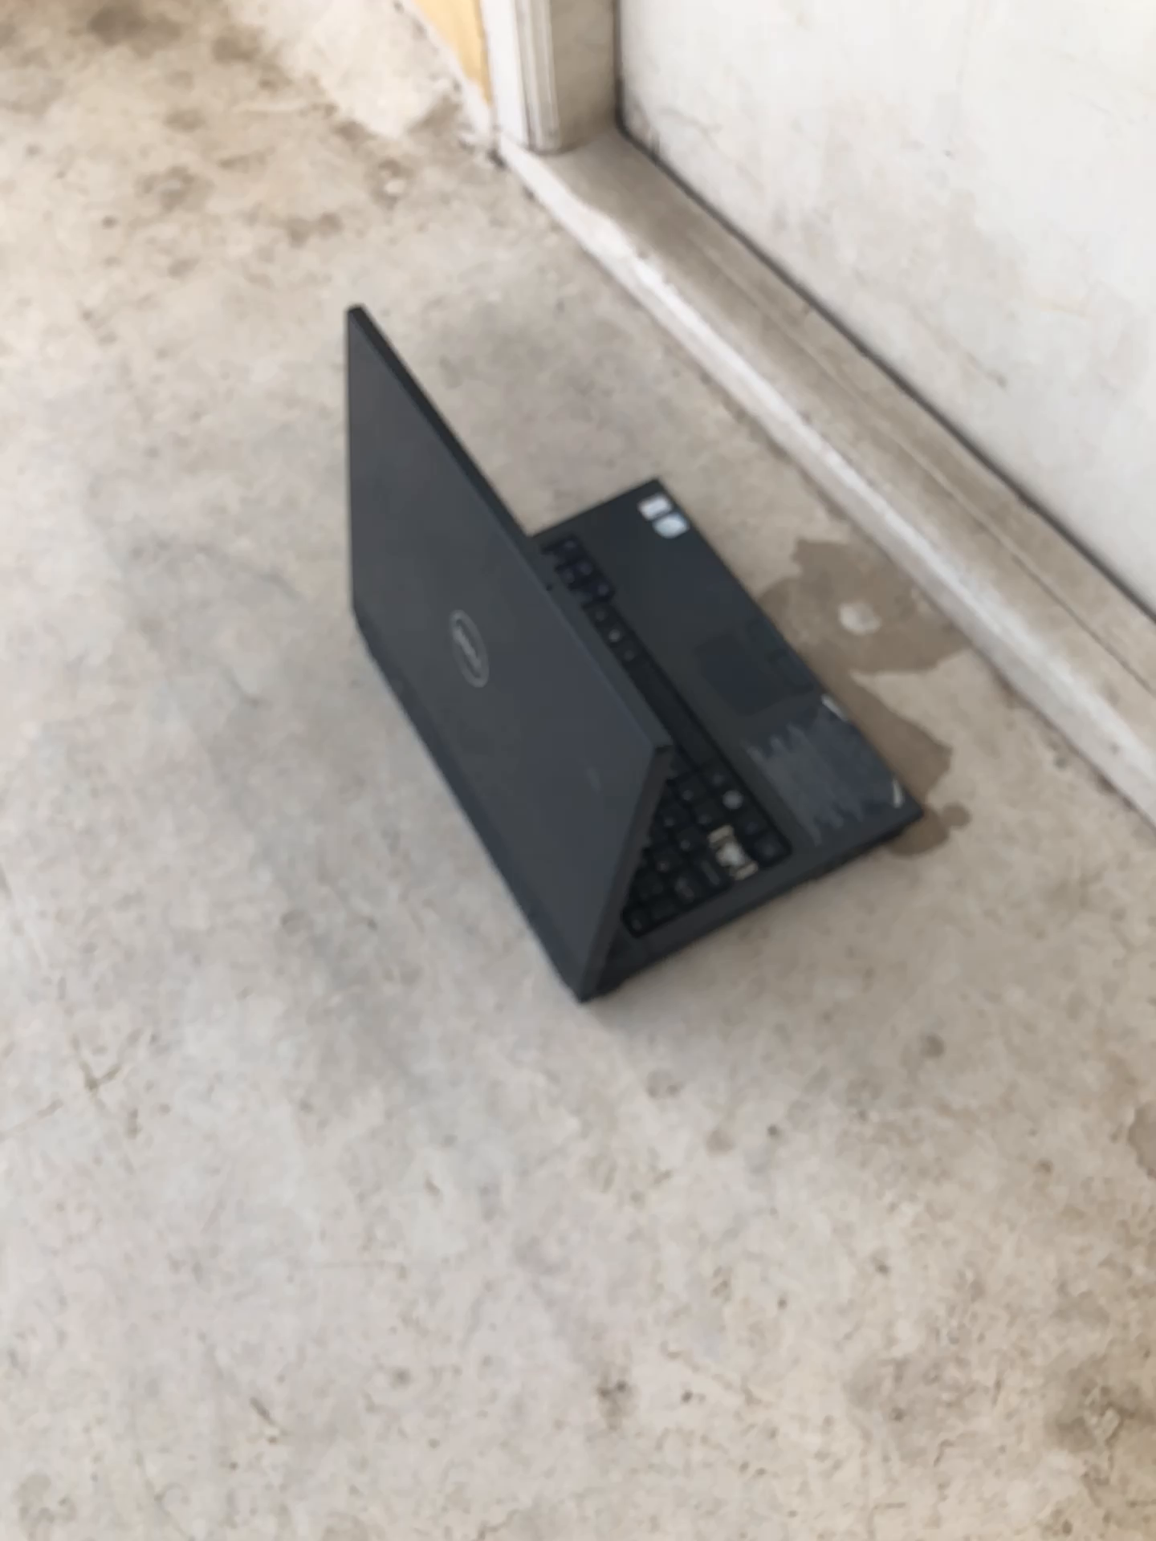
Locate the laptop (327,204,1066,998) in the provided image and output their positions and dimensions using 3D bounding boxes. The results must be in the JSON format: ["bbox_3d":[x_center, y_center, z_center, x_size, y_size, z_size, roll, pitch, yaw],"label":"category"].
[{"bbox_3d":[0.047,-0.085,0.710,0.224,0.252,0.280,-27,62,-11],"label":"laptop"}]
